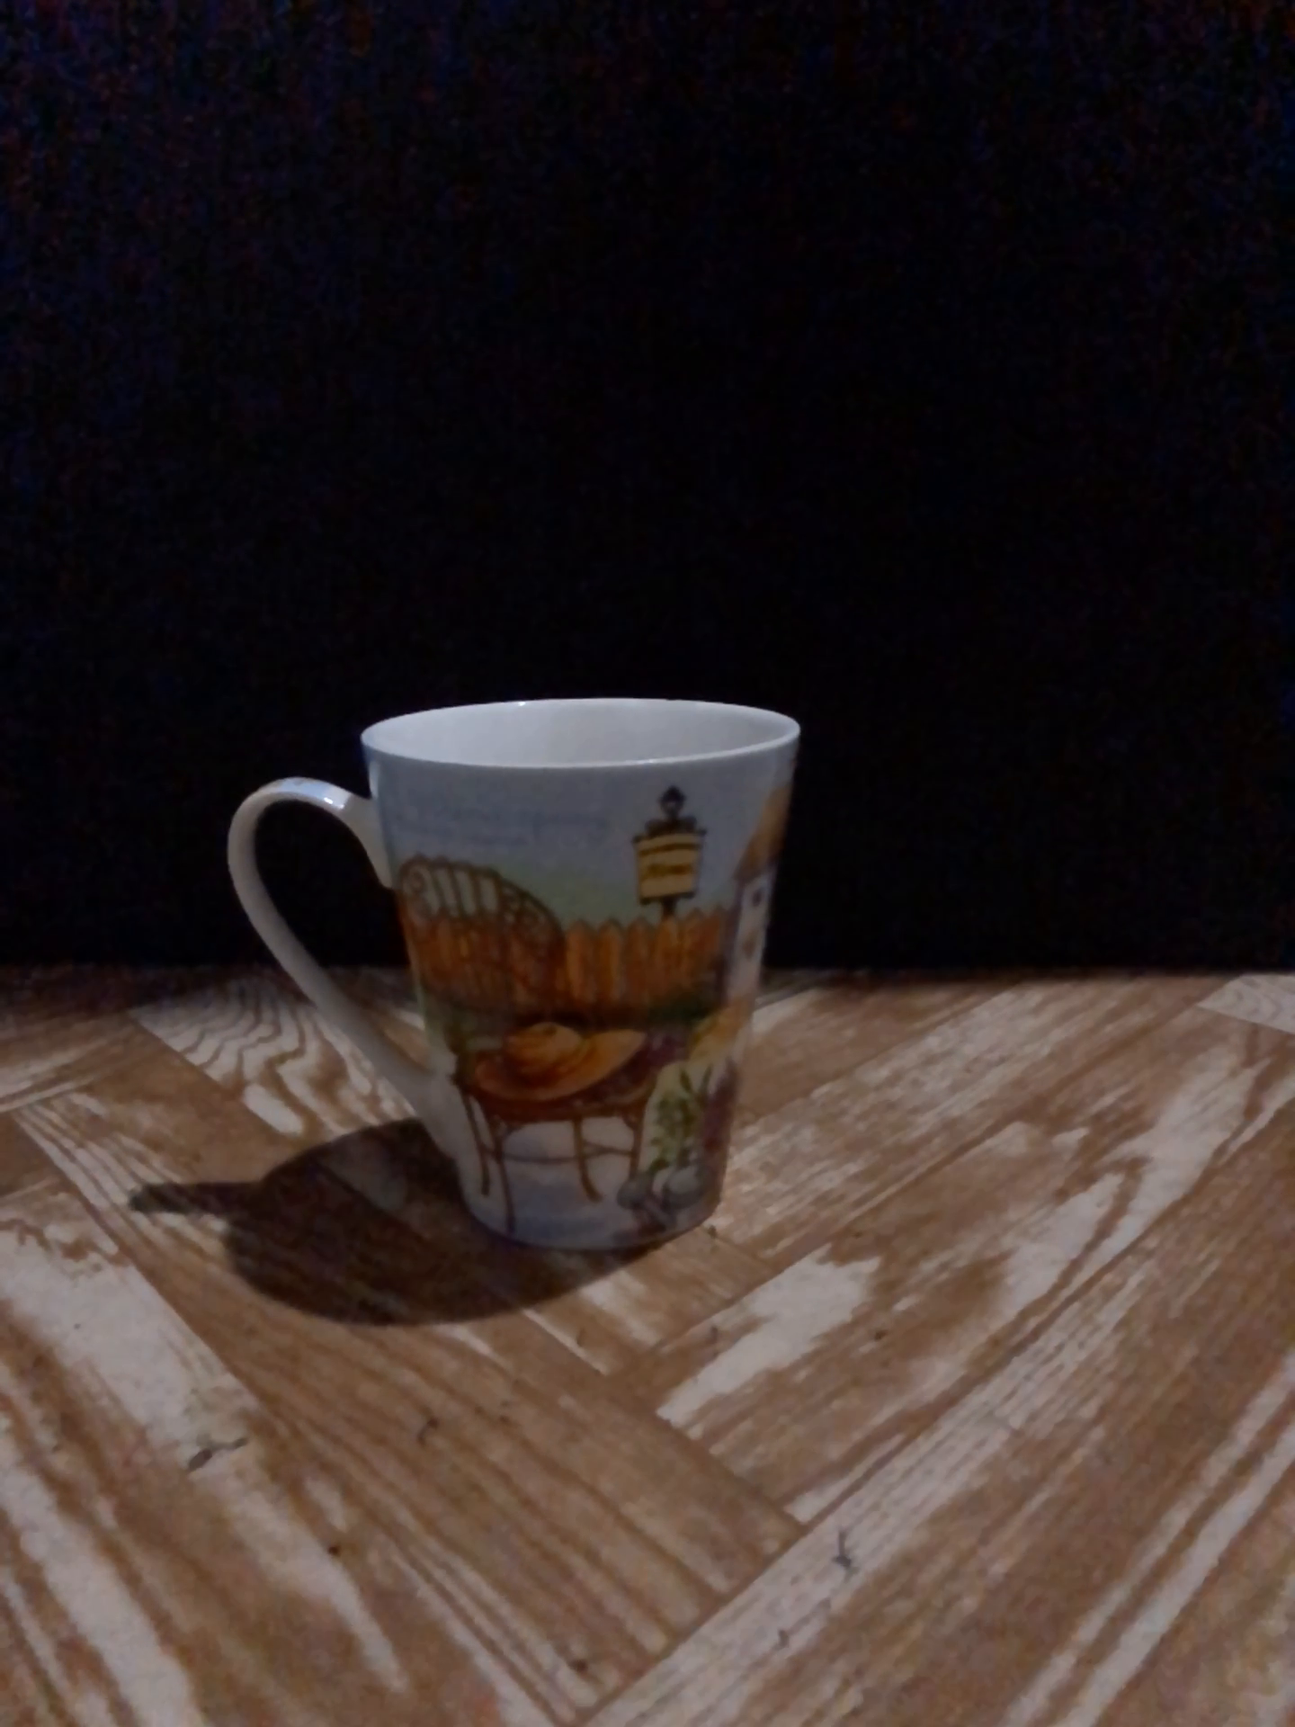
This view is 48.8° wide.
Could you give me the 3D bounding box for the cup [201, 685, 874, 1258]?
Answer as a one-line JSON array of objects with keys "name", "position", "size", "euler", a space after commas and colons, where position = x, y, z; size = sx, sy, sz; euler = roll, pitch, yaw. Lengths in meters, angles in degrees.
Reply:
[{"name": "cup", "position": [-0.018, 0.016, 0.285], "size": [0.111, 0.090, 0.079], "euler": [-1, 14, -1]}]
